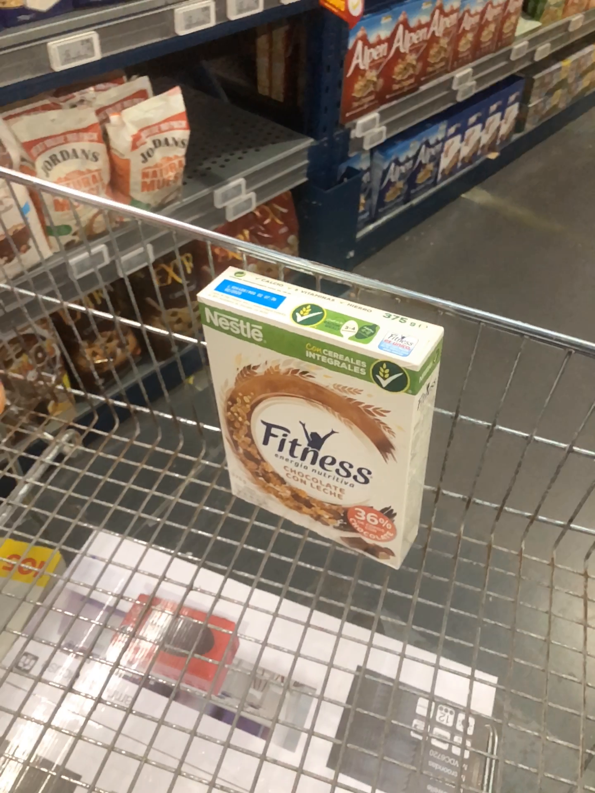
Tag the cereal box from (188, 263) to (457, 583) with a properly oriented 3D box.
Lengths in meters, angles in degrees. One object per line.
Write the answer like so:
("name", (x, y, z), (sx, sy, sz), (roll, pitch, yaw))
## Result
("cereal box", (0.020, 0.031, 0.592), (0.200, 0.259, 0.060), (20, 48, 23))
